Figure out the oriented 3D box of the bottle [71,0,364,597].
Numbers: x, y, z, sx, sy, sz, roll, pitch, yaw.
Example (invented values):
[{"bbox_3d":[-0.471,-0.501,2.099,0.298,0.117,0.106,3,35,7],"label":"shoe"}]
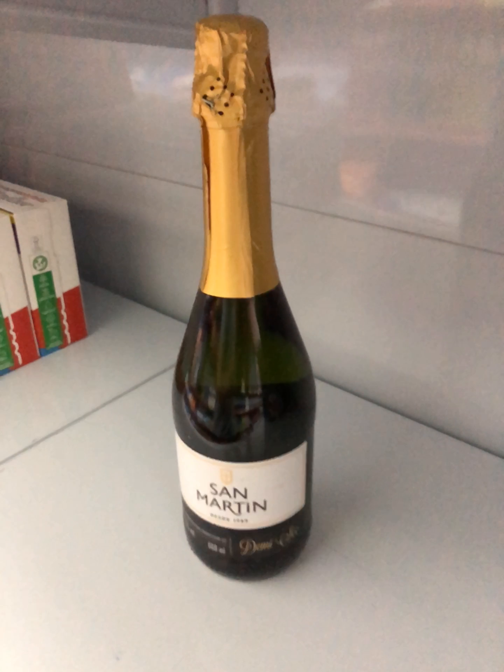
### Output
[{"bbox_3d":[-0.003,-0.011,0.289,0.090,0.308,0.081,7,30,15],"label":"bottle"}]
